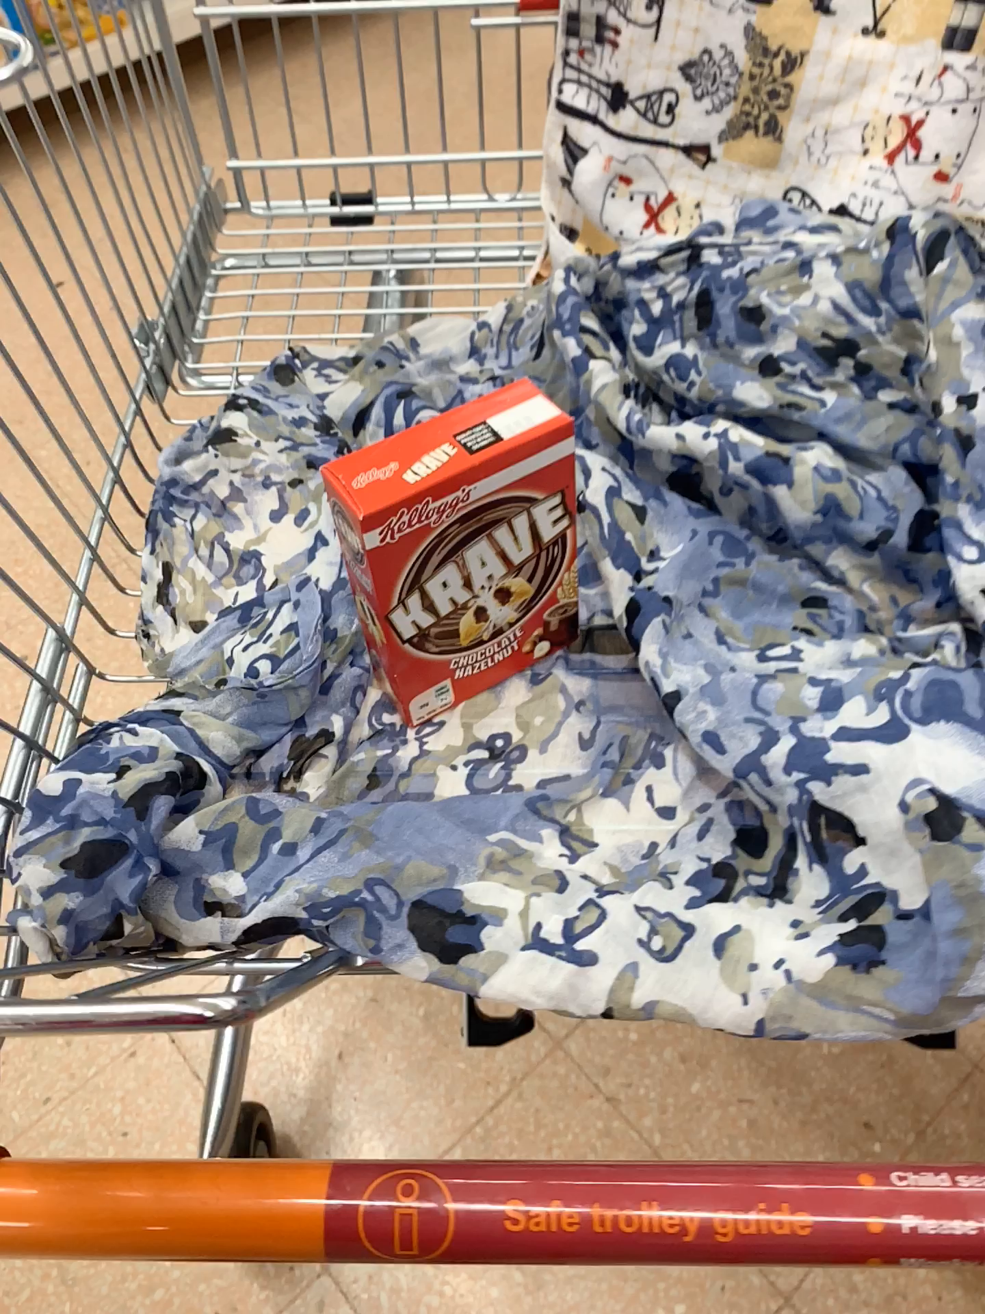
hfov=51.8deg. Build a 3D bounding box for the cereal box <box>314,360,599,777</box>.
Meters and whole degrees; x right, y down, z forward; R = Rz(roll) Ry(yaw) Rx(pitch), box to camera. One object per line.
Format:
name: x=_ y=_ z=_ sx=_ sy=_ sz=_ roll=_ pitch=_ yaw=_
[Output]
cereal box: x=-0.008 y=-0.029 z=0.404 sx=0.090 sy=0.149 sz=0.040 roll=-27 pitch=53 yaw=-18
